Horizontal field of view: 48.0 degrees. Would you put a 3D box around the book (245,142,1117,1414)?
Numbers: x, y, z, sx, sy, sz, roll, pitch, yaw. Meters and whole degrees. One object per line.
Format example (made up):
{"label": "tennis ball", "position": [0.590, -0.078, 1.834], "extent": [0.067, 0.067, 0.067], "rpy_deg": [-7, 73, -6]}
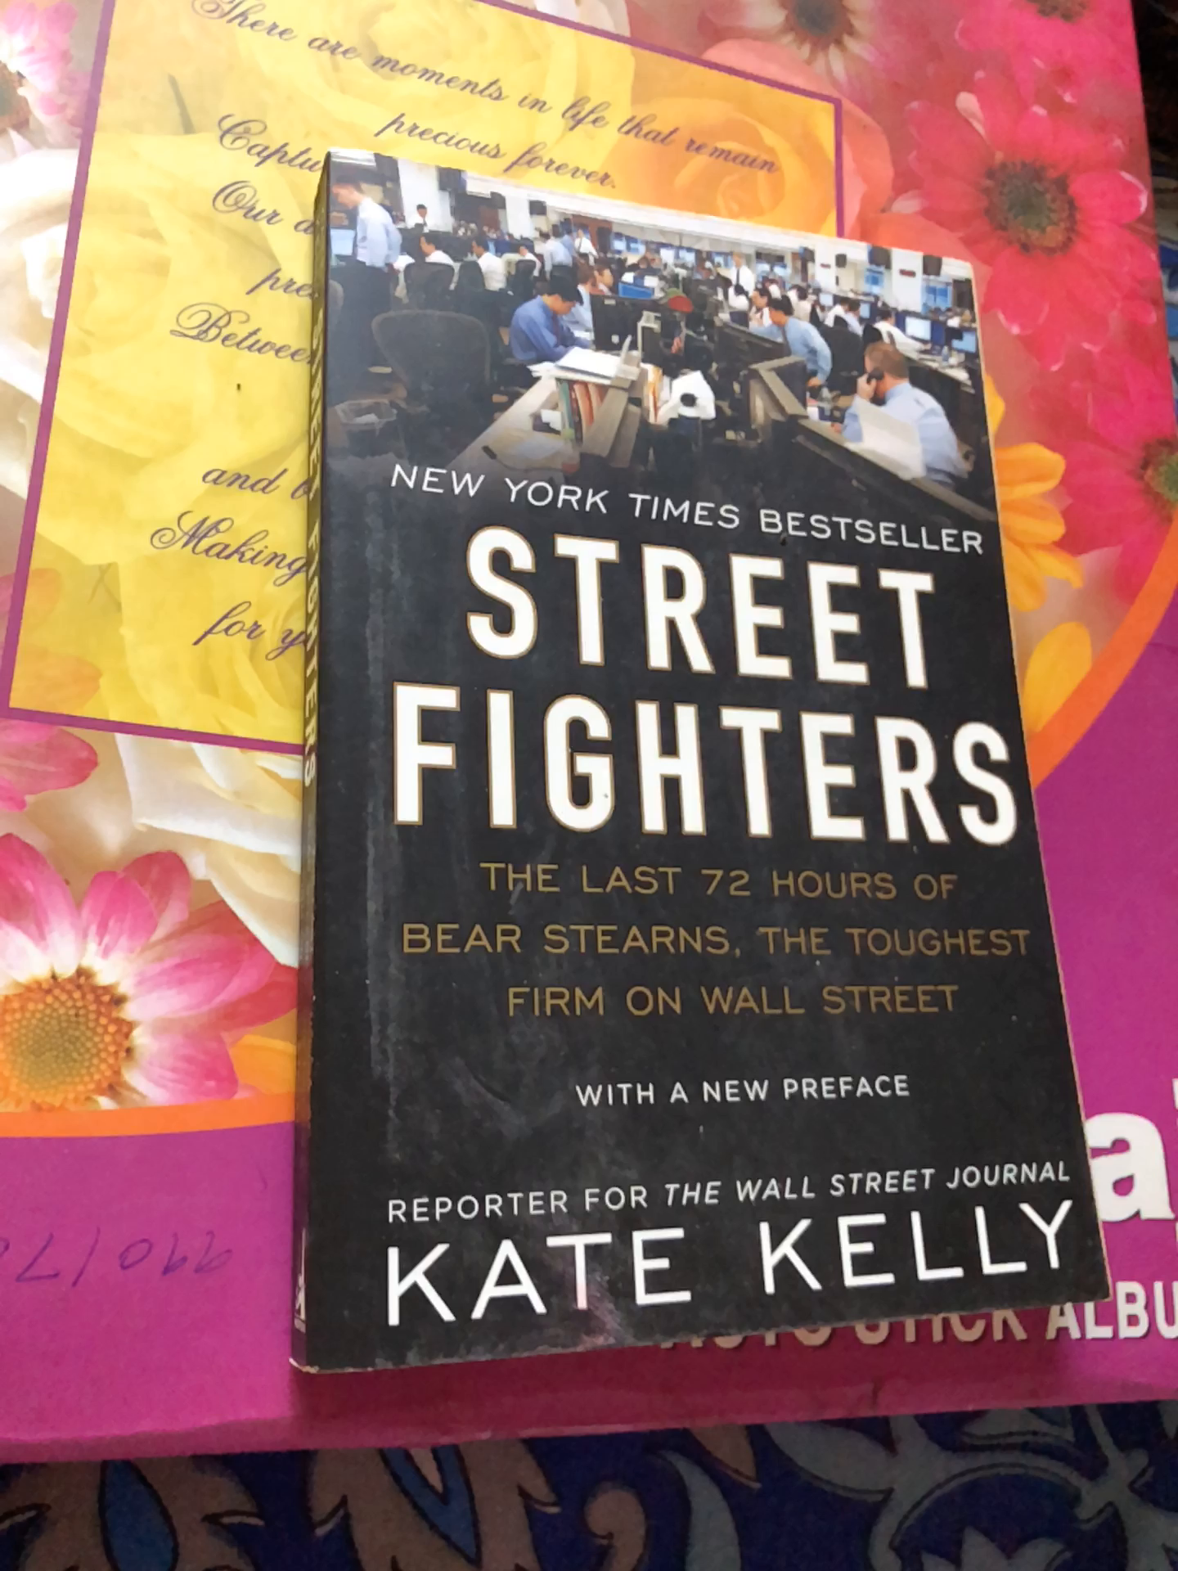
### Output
{"label": "book", "position": [0.013, -0.008, 0.243], "extent": [0.140, 0.030, 0.210], "rpy_deg": [2, 76, -14]}
